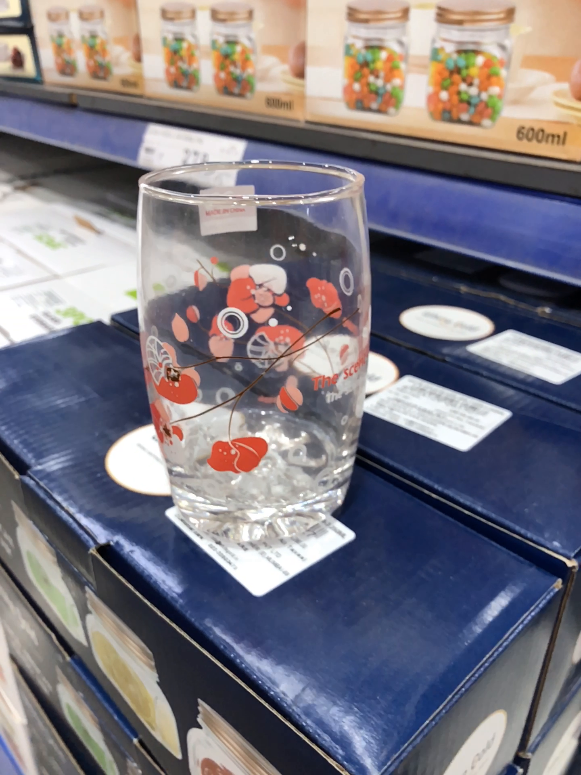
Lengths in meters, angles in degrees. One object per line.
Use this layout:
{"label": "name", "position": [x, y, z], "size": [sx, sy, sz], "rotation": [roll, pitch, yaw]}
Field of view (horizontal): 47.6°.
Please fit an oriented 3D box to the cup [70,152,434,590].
{"label": "cup", "position": [-0.009, -0.011, 0.202], "size": [0.070, 0.100, 0.070], "rotation": [1, 29, 0]}
